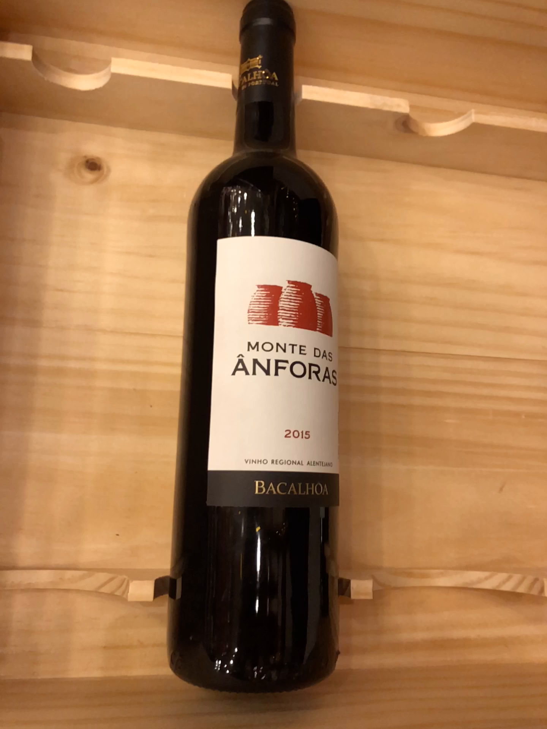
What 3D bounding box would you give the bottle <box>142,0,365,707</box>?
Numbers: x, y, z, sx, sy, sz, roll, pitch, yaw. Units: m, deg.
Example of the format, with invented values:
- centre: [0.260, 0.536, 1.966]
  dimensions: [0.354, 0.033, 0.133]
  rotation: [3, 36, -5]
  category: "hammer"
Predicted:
- centre: [-0.009, -0.034, 0.272]
  dimensions: [0.080, 0.060, 0.320]
  rotation: [3, 80, -11]
  category: "bottle"
